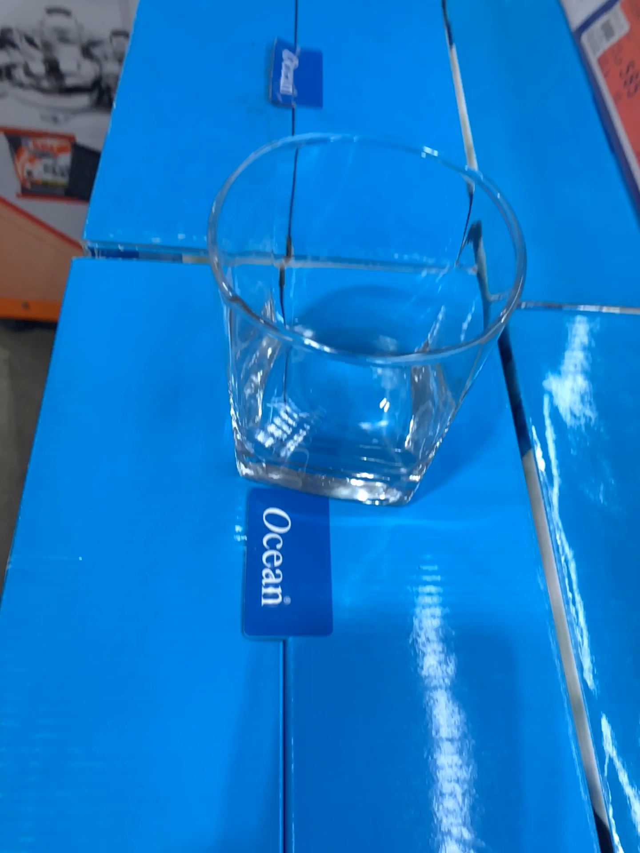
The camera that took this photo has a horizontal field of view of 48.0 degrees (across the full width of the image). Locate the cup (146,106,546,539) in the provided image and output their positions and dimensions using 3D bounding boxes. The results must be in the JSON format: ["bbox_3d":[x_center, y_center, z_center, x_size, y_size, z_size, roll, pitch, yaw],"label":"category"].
[{"bbox_3d":[0.006,-0.029,0.219,0.090,0.080,0.090,3,57,-4],"label":"cup"}]
